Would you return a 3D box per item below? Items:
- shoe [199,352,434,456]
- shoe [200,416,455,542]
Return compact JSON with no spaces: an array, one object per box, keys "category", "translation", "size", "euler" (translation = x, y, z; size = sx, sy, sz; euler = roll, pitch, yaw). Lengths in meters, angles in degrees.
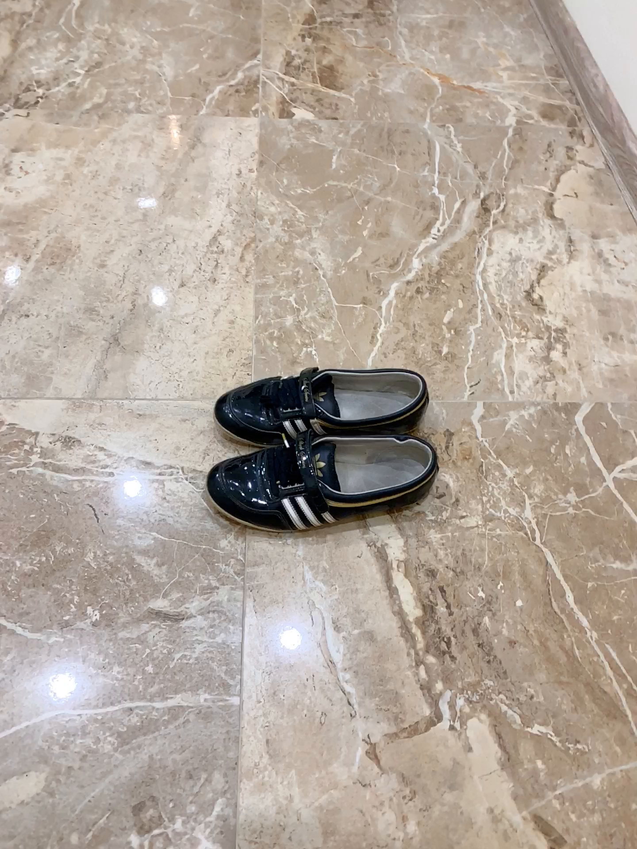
[{"category":"shoe","translation":[-0.004,-0.023,0.716],"size":[0.240,0.060,0.096],"euler":[0,55,-4]},{"category":"shoe","translation":[0.004,0.054,0.660],"size":[0.240,0.060,0.096],"euler":[-3,55,-6]}]
